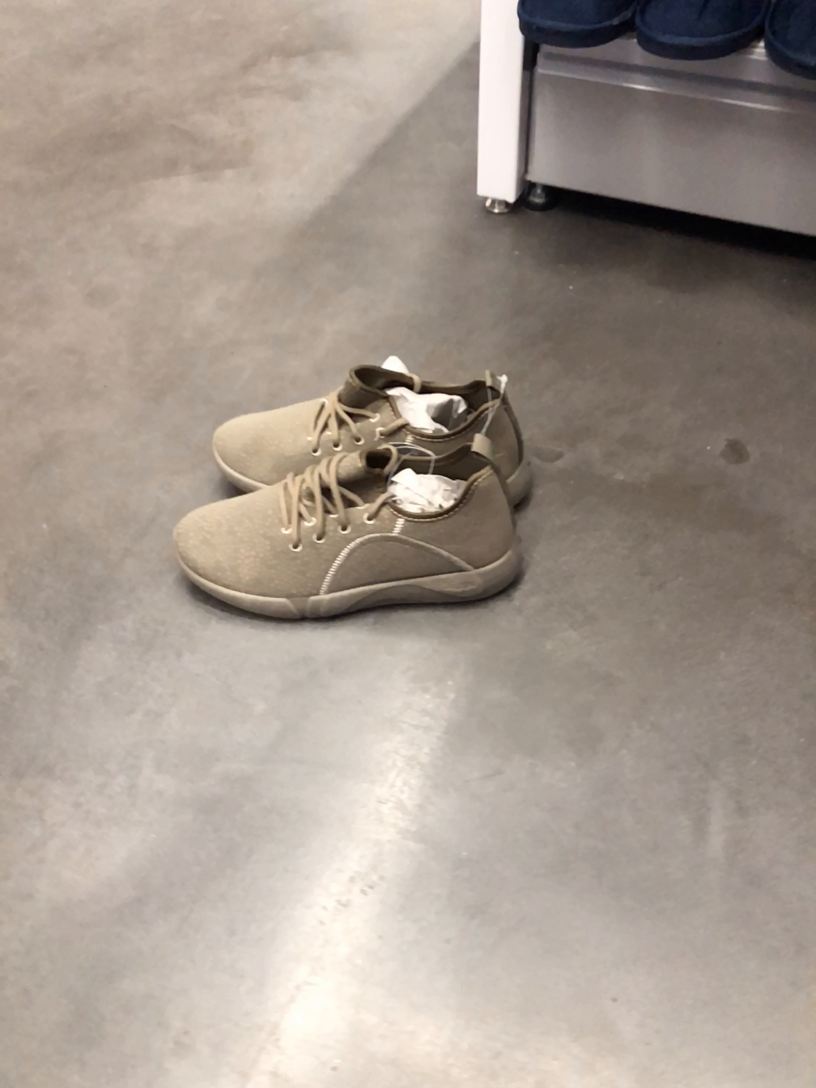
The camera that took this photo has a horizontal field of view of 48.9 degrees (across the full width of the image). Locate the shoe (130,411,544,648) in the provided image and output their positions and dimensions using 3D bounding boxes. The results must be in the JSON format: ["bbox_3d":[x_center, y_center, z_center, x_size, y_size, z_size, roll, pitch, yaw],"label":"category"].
[{"bbox_3d":[-0.040,-0.008,0.593,0.240,0.109,0.101,-2,50,1],"label":"shoe"}]

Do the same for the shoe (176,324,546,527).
[{"bbox_3d":[-0.027,-0.085,0.649,0.240,0.109,0.091,1,50,4],"label":"shoe"}]
